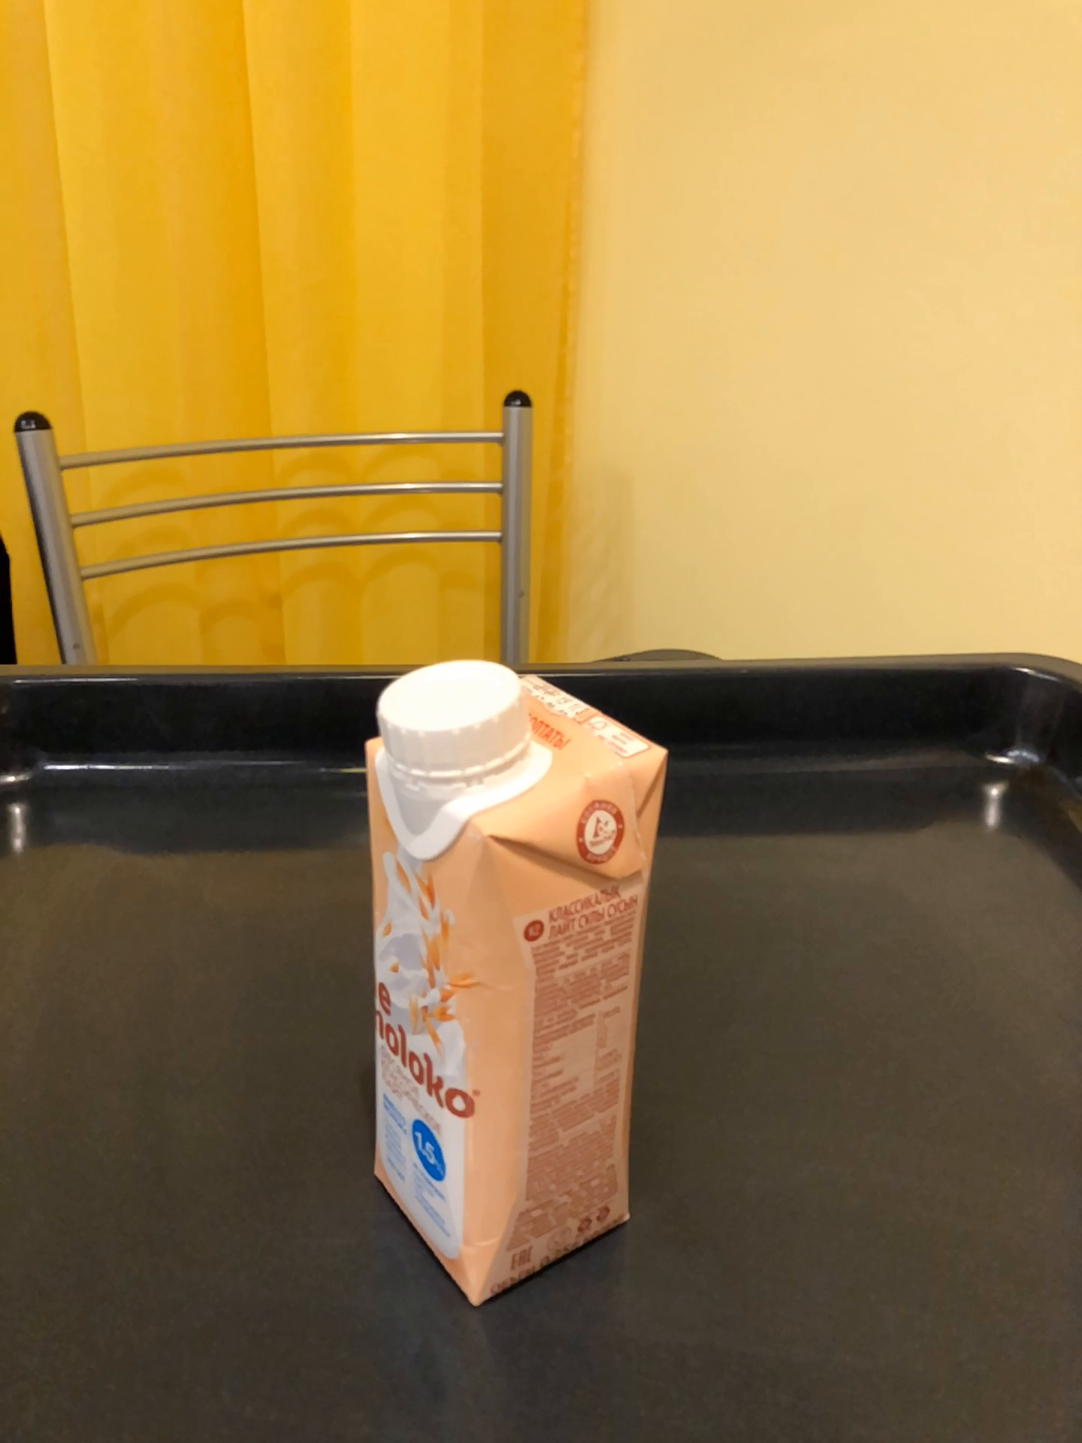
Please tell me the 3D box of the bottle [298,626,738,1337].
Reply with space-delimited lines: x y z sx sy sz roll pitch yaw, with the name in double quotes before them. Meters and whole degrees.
"bottle" -0.008 0.051 0.251 0.060 0.119 0.060 2 25 -1
